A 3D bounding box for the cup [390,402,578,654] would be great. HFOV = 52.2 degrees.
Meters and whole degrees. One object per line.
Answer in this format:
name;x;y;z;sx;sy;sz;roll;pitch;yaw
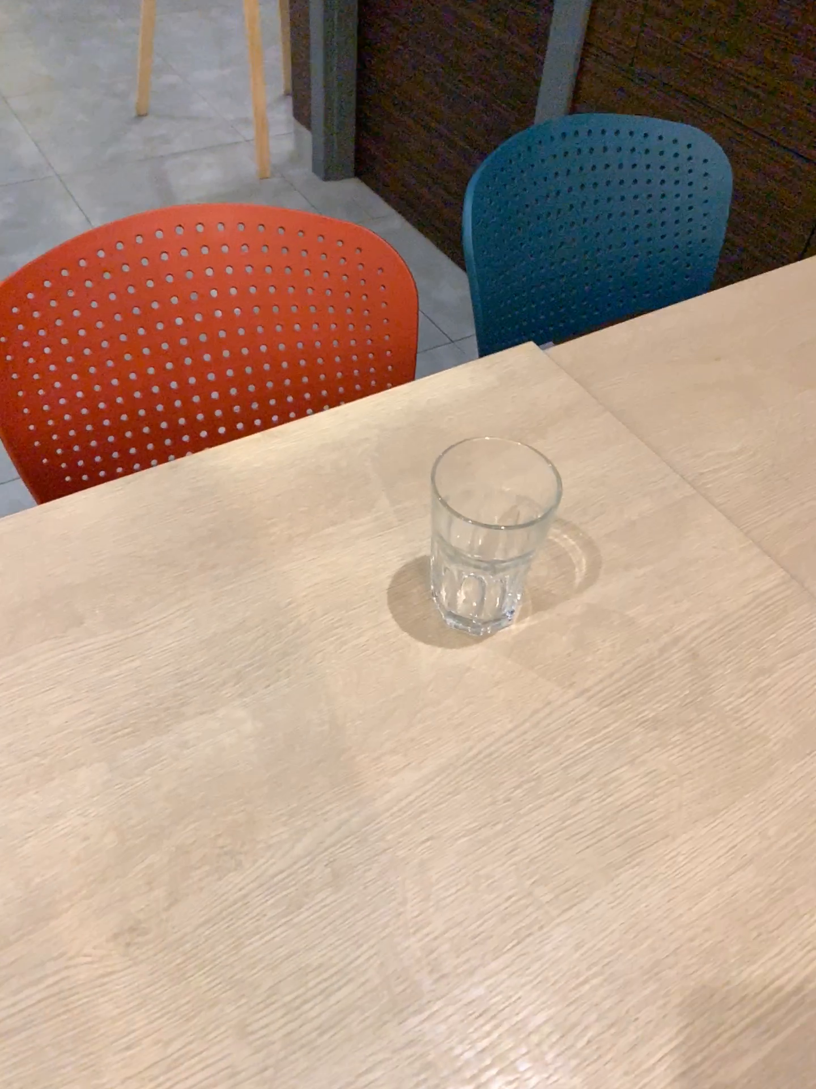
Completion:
cup;0.045;-0.009;0.534;0.080;0.120;0.080;3;48;-3
